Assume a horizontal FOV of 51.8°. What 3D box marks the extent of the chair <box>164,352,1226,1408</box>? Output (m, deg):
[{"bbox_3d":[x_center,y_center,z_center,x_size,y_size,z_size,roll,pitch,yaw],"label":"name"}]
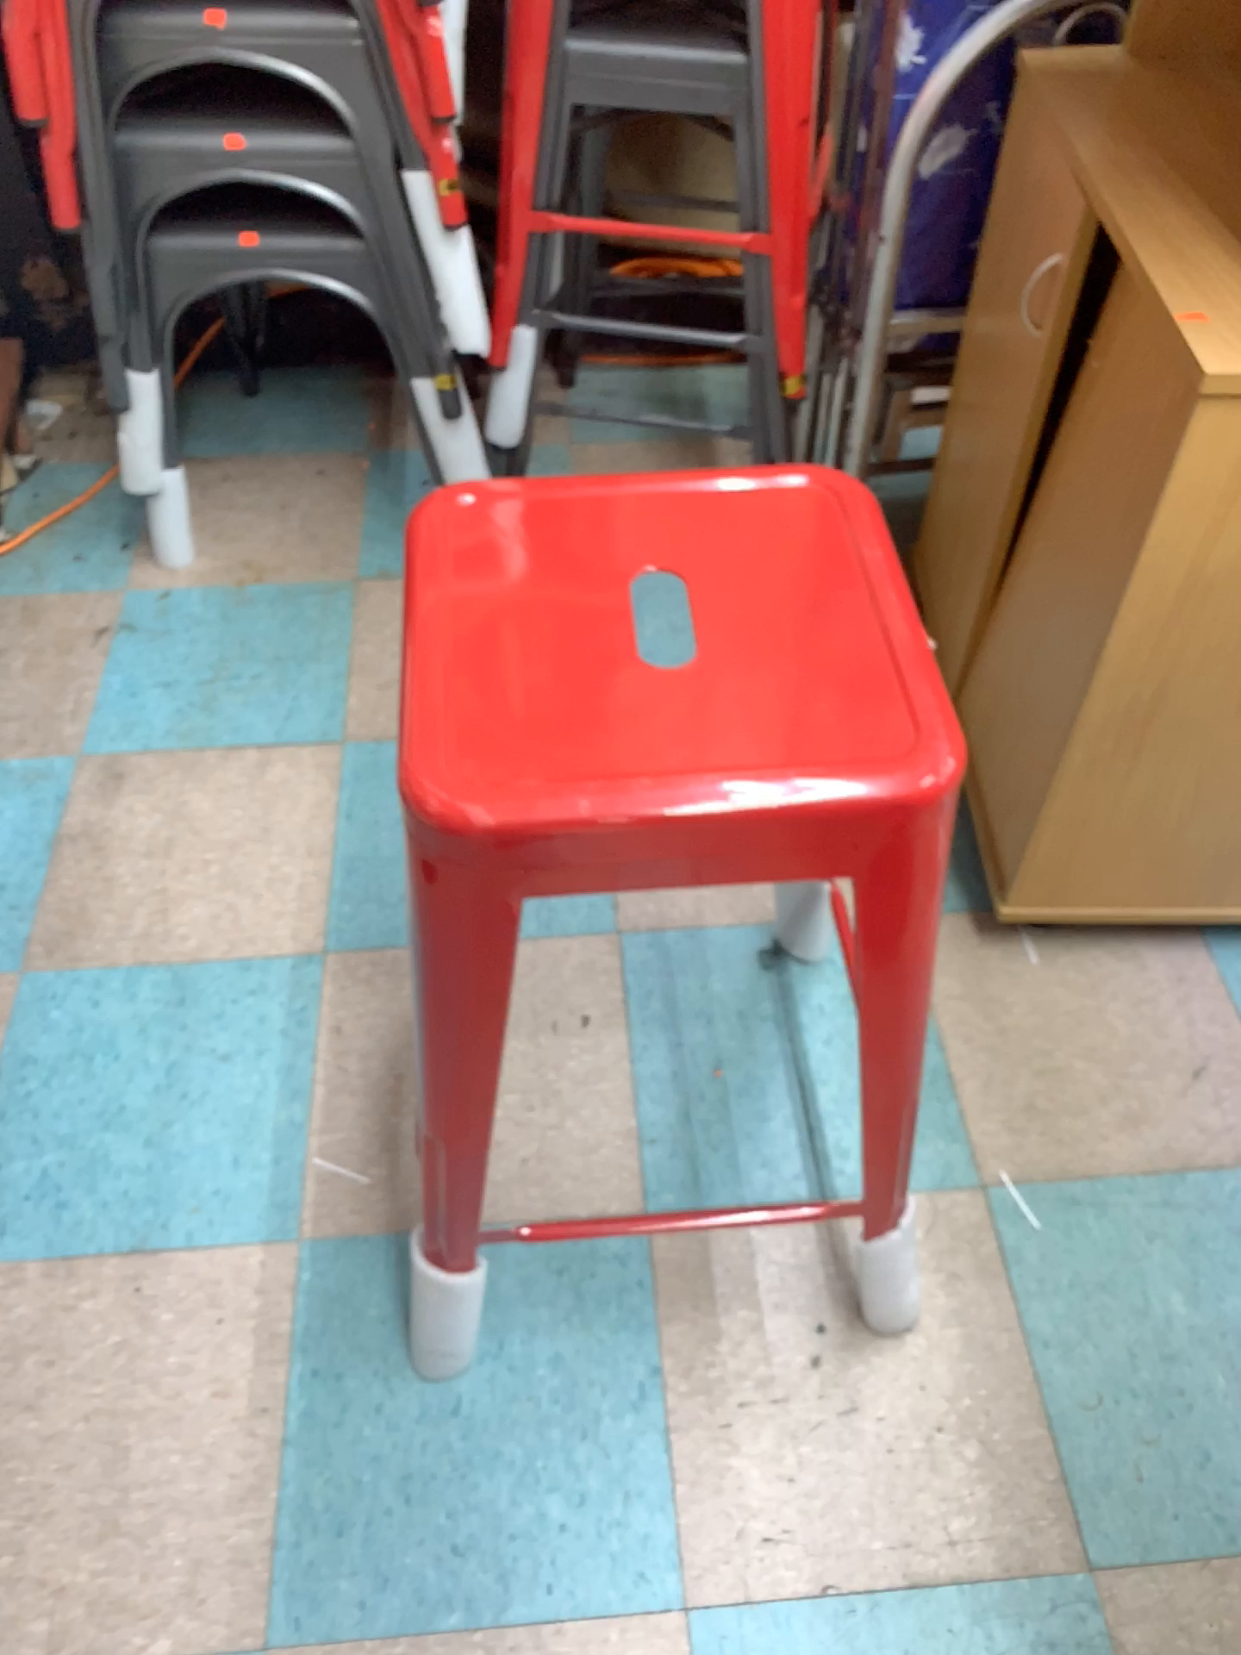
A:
[{"bbox_3d":[0.020,0.068,0.893,0.438,0.598,0.436,-3,50,-3],"label":"chair"}]
